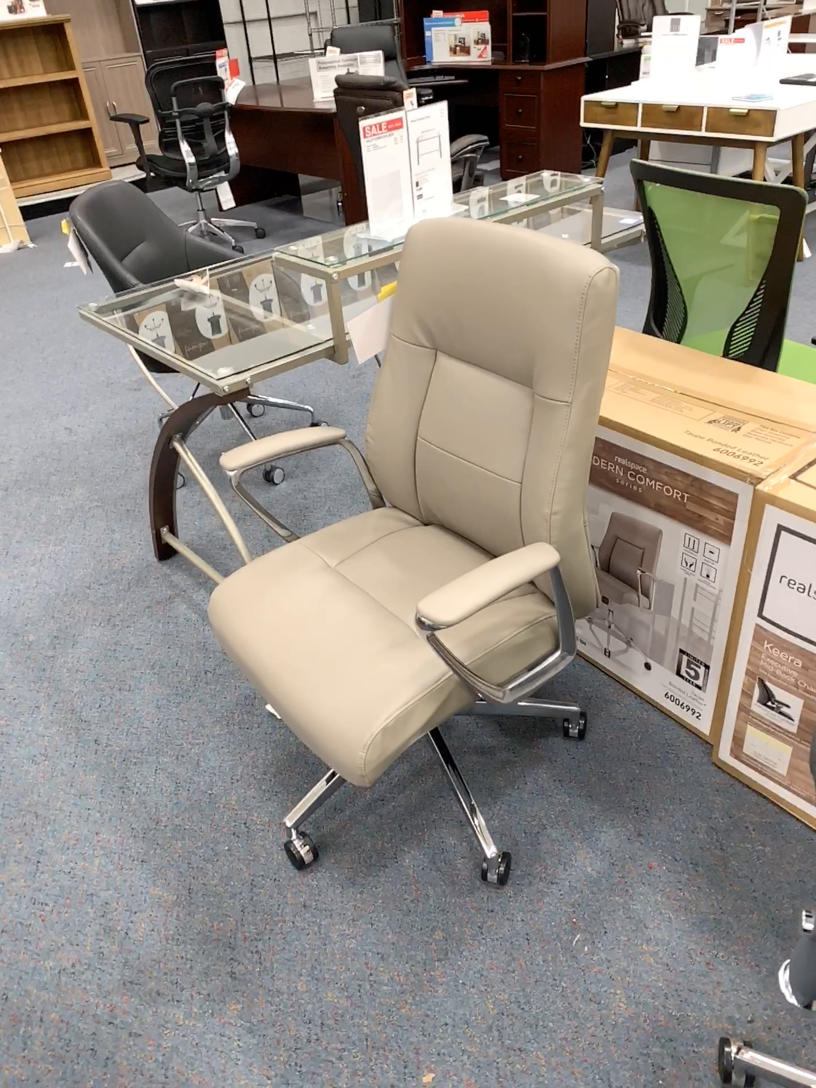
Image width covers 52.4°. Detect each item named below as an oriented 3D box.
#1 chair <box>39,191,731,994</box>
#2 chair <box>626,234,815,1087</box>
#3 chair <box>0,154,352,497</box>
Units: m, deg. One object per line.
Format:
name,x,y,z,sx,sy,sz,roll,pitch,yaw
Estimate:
chair,-0.029,0.022,1.401,0.675,0.956,0.694,-26,39,-27
chair,0.706,0.390,0.730,0.812,1.055,0.818,9,37,20
chair,-0.697,-0.737,2.751,0.754,0.856,0.765,3,35,12
